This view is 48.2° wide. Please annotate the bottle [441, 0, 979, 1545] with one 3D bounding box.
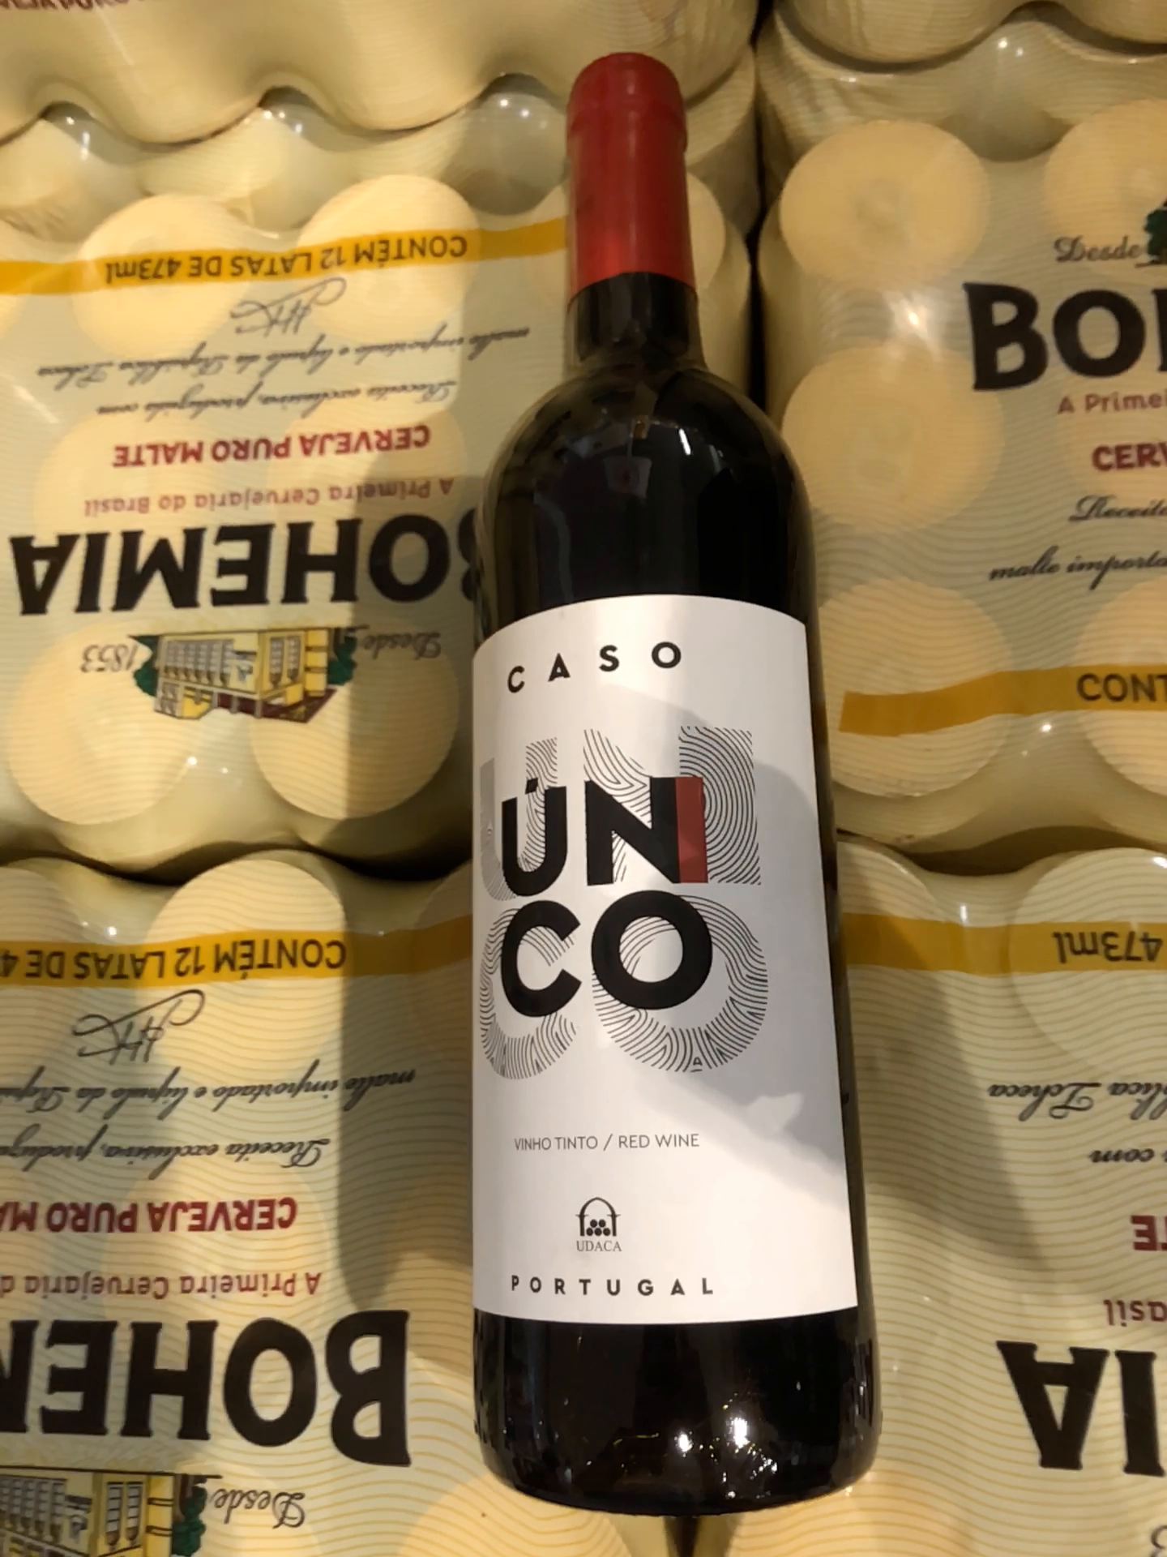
[{"bbox_3d":[0.019,-0.036,0.273,0.080,0.070,0.330,-4,75,8],"label":"bottle"}]
